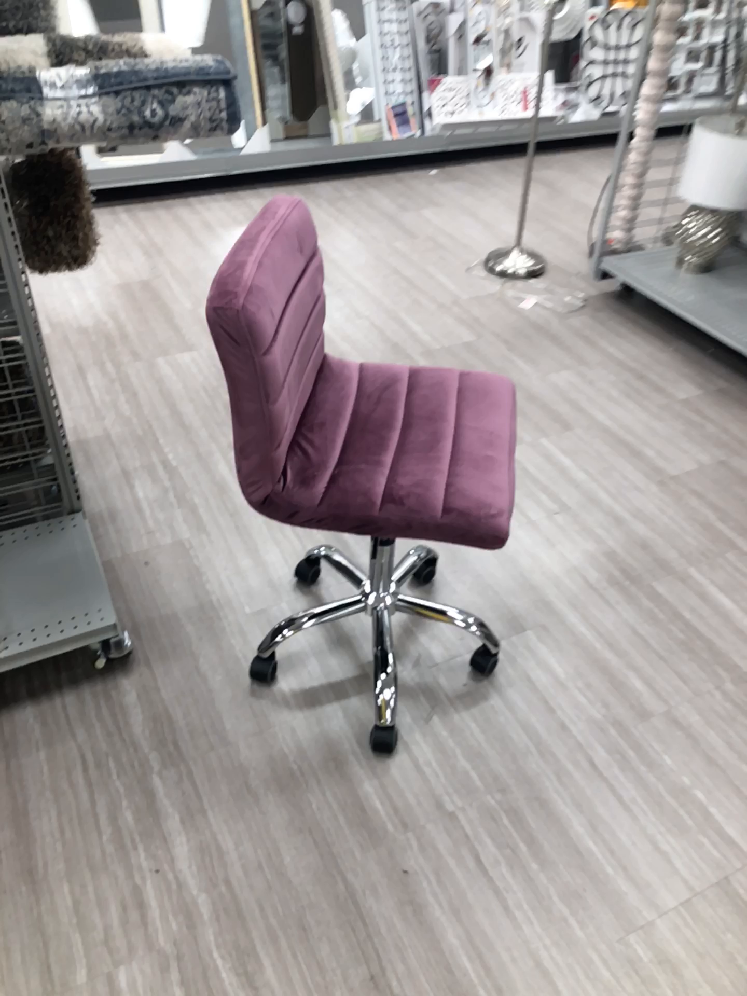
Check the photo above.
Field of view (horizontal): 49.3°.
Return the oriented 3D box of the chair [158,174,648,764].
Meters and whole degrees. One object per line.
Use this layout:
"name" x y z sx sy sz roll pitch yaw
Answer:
"chair" 0.035 -0.049 1.433 0.577 0.800 0.590 5 38 2
